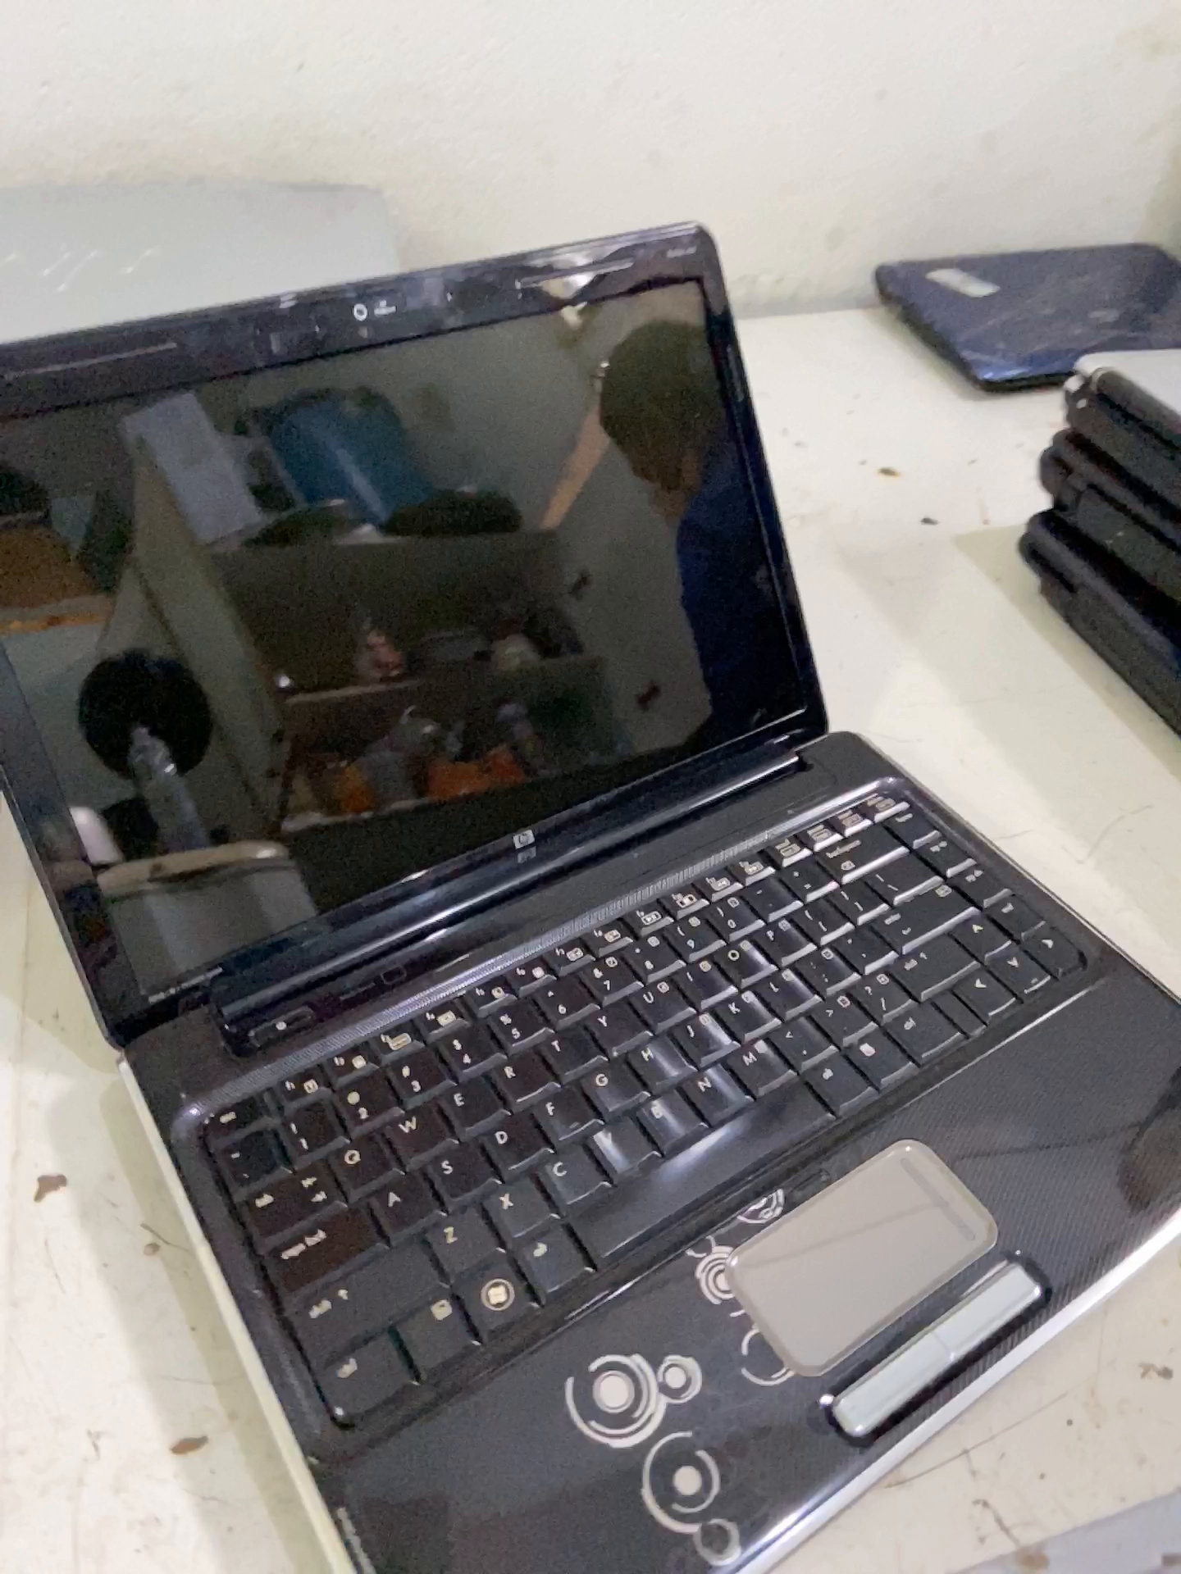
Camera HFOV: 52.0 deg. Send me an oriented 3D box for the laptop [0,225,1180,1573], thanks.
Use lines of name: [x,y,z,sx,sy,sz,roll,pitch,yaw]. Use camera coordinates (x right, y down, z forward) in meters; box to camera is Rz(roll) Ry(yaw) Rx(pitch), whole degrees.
laptop: [0.011,-0.007,0.393,0.331,0.175,0.373,-23,49,-25]
